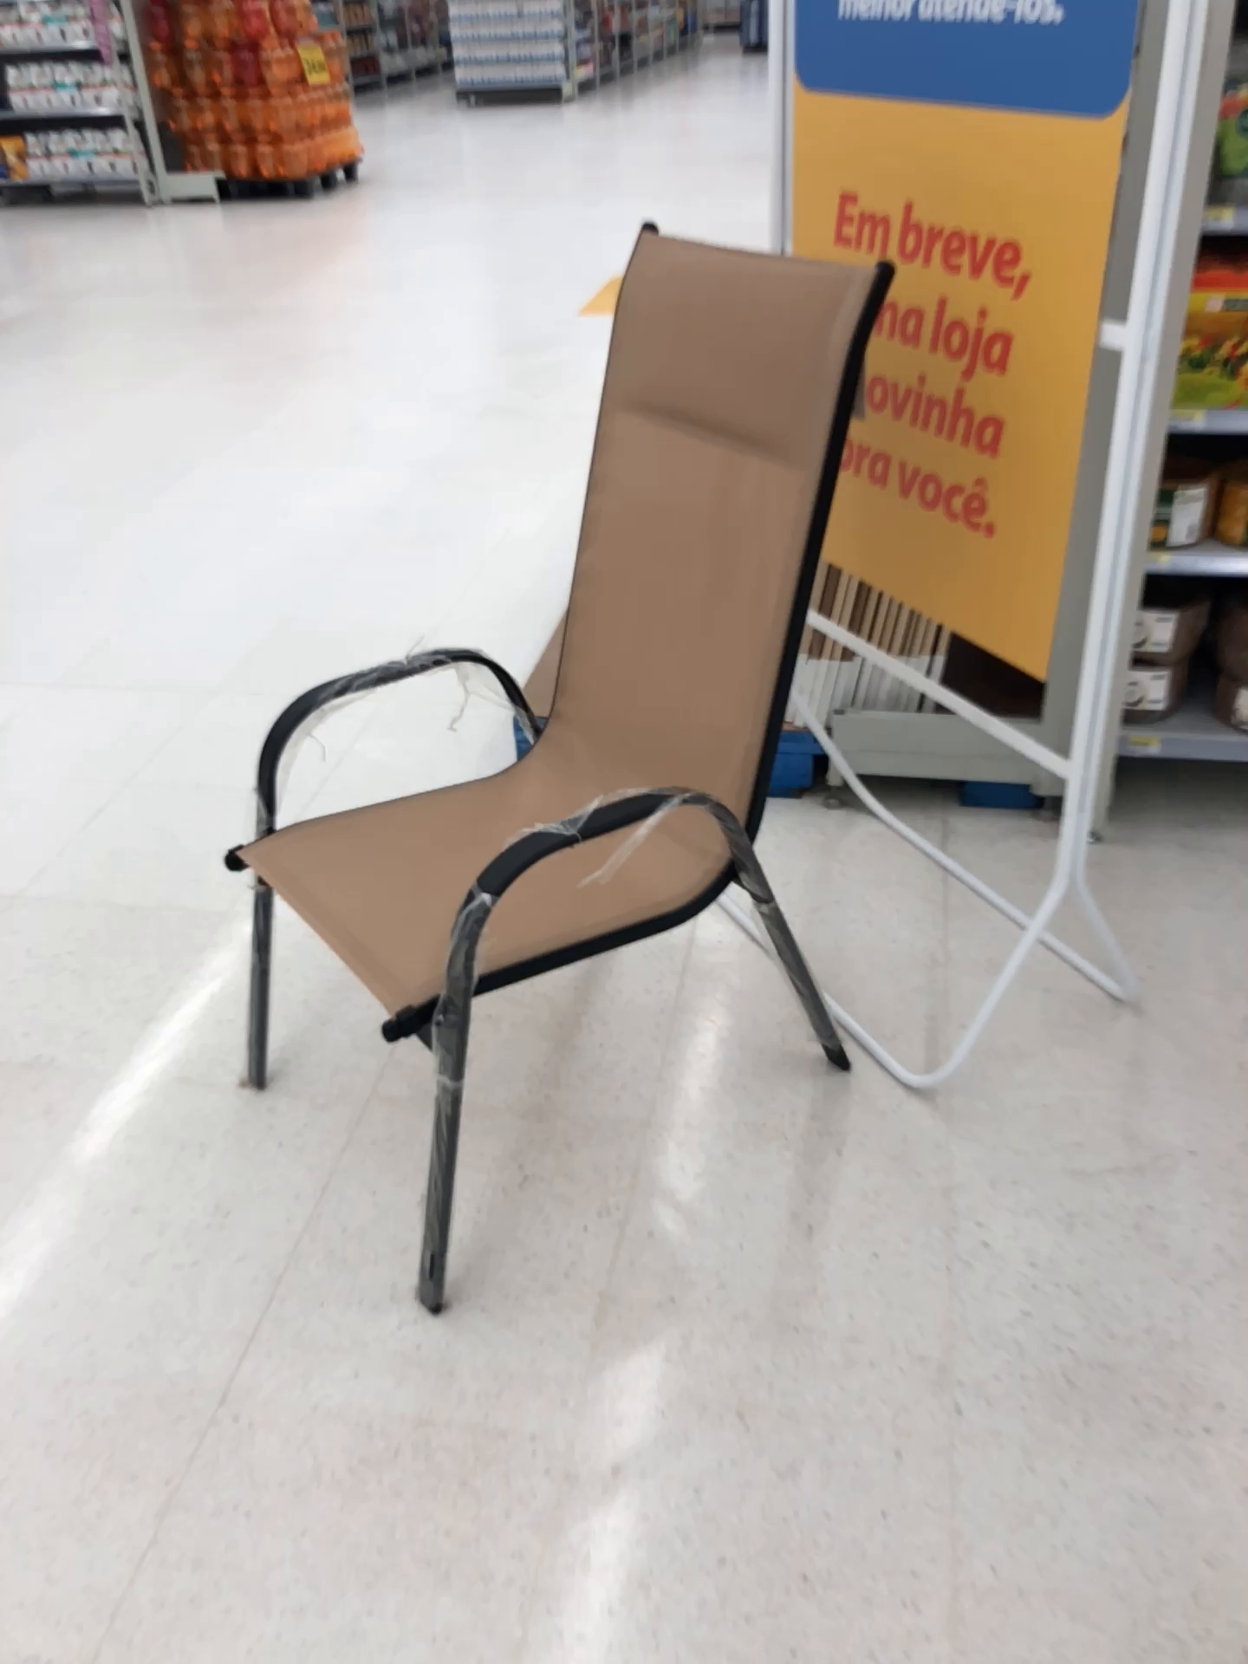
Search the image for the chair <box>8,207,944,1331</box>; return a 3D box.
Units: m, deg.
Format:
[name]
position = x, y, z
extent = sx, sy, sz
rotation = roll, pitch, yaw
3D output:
[chair]
position = -0.138, -0.128, 1.595
extent = 0.702, 0.973, 0.623
rotation = -23, 37, -28
